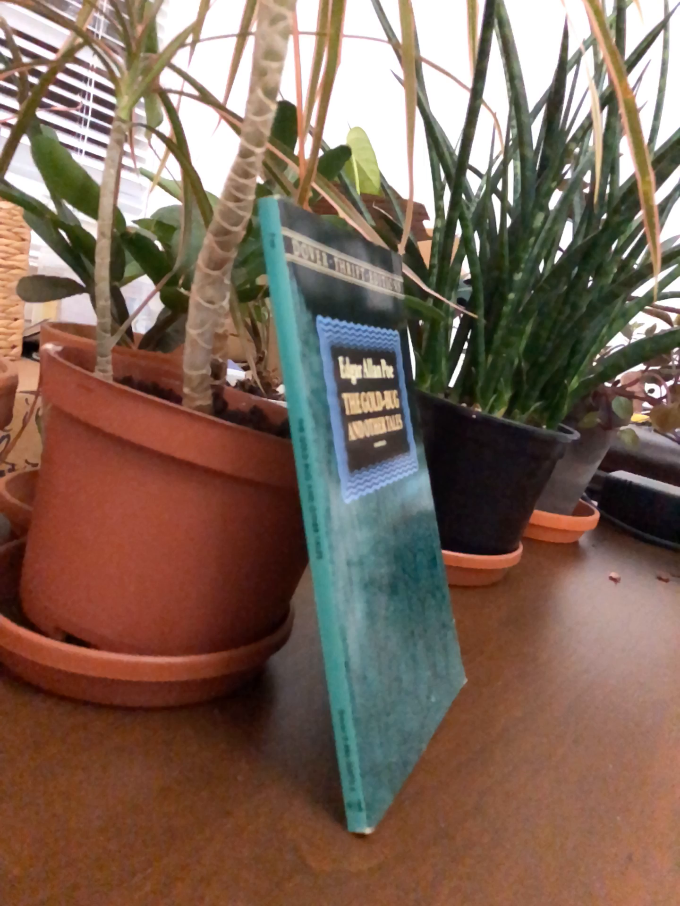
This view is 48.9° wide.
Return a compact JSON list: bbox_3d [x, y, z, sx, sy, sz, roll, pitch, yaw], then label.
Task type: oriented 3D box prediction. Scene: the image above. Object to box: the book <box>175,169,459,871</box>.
[{"bbox_3d":[0.003,0.015,0.288,0.020,0.210,0.140,-9,2,23],"label":"book"}]
